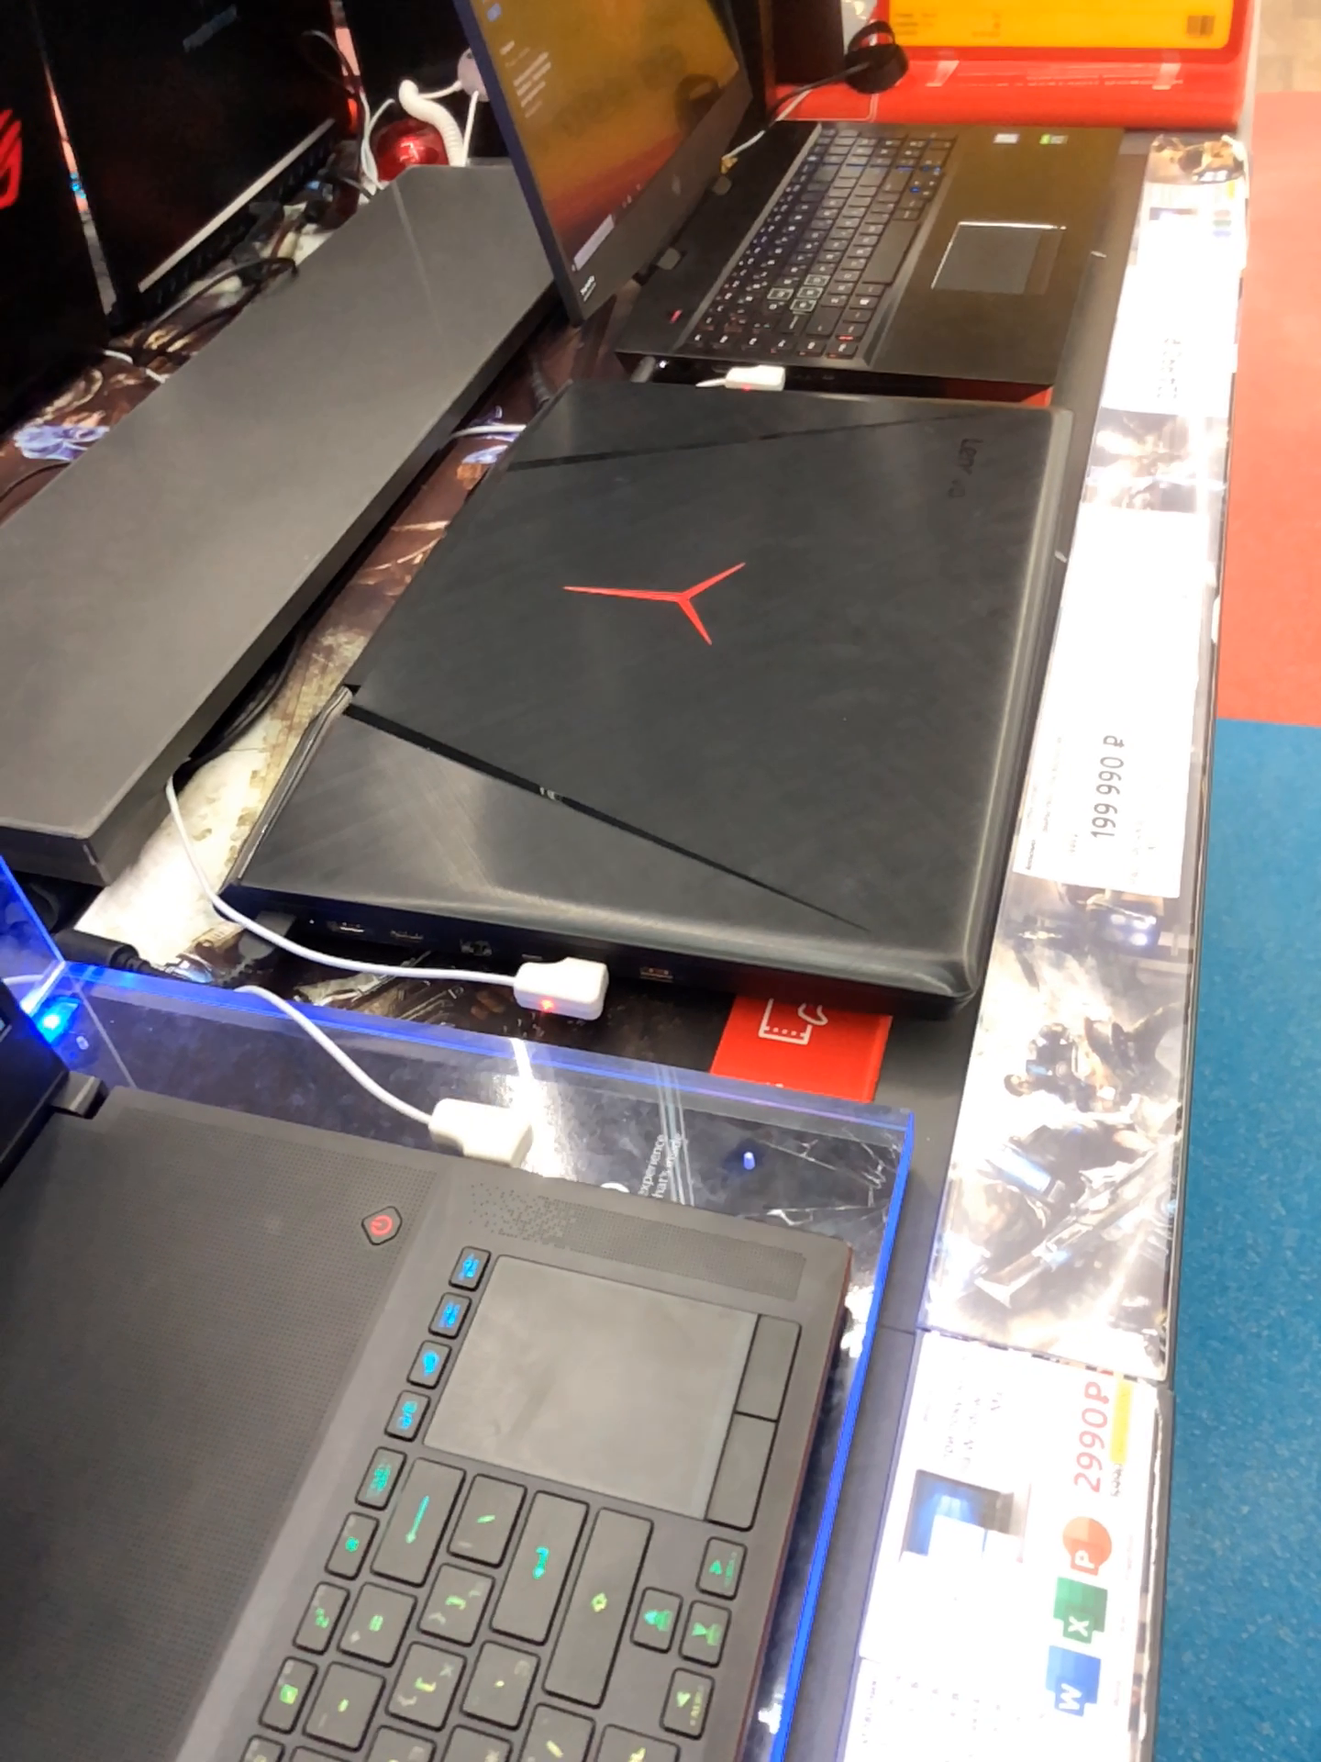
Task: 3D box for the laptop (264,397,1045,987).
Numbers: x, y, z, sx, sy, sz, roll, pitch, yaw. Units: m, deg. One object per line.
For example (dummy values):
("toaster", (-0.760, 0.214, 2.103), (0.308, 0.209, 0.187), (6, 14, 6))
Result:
("laptop", (0.026, -0.120, 0.665), (0.269, 0.005, 0.401), (7, 46, 13))
